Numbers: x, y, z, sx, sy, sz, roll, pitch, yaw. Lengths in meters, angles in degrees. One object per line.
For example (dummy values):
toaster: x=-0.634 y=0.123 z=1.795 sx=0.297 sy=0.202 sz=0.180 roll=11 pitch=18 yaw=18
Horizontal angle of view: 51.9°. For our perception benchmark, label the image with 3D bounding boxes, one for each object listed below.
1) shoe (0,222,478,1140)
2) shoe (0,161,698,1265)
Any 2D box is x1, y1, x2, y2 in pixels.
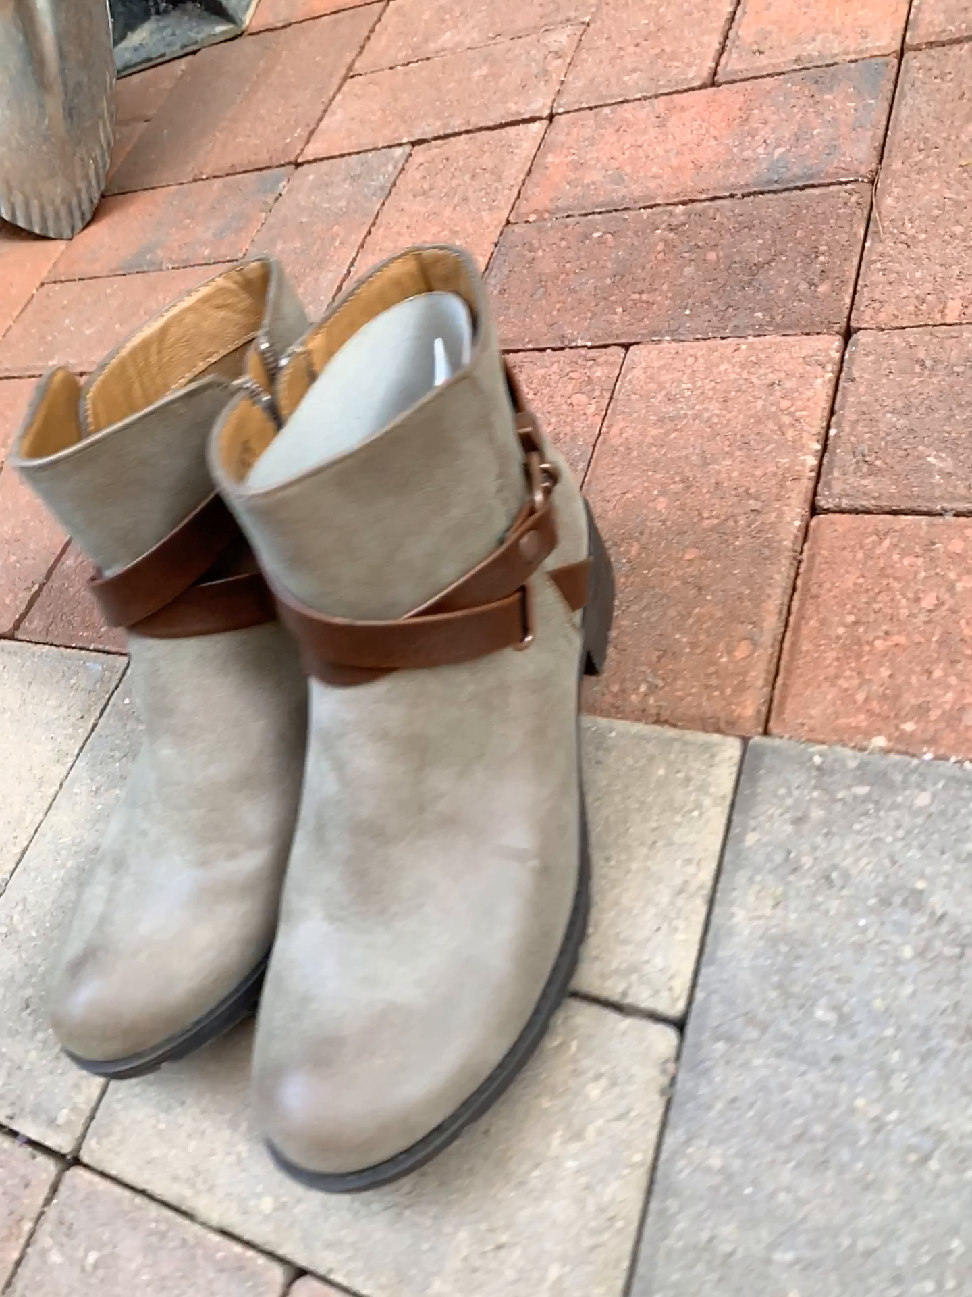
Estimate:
shoe: x=-0.113 y=0.012 z=0.337 sx=0.096 sy=0.165 sz=0.239 roll=5 pitch=61 yaw=29
shoe: x=-0.026 y=0.019 z=0.293 sx=0.096 sy=0.165 sz=0.251 roll=3 pitch=60 yaw=28
